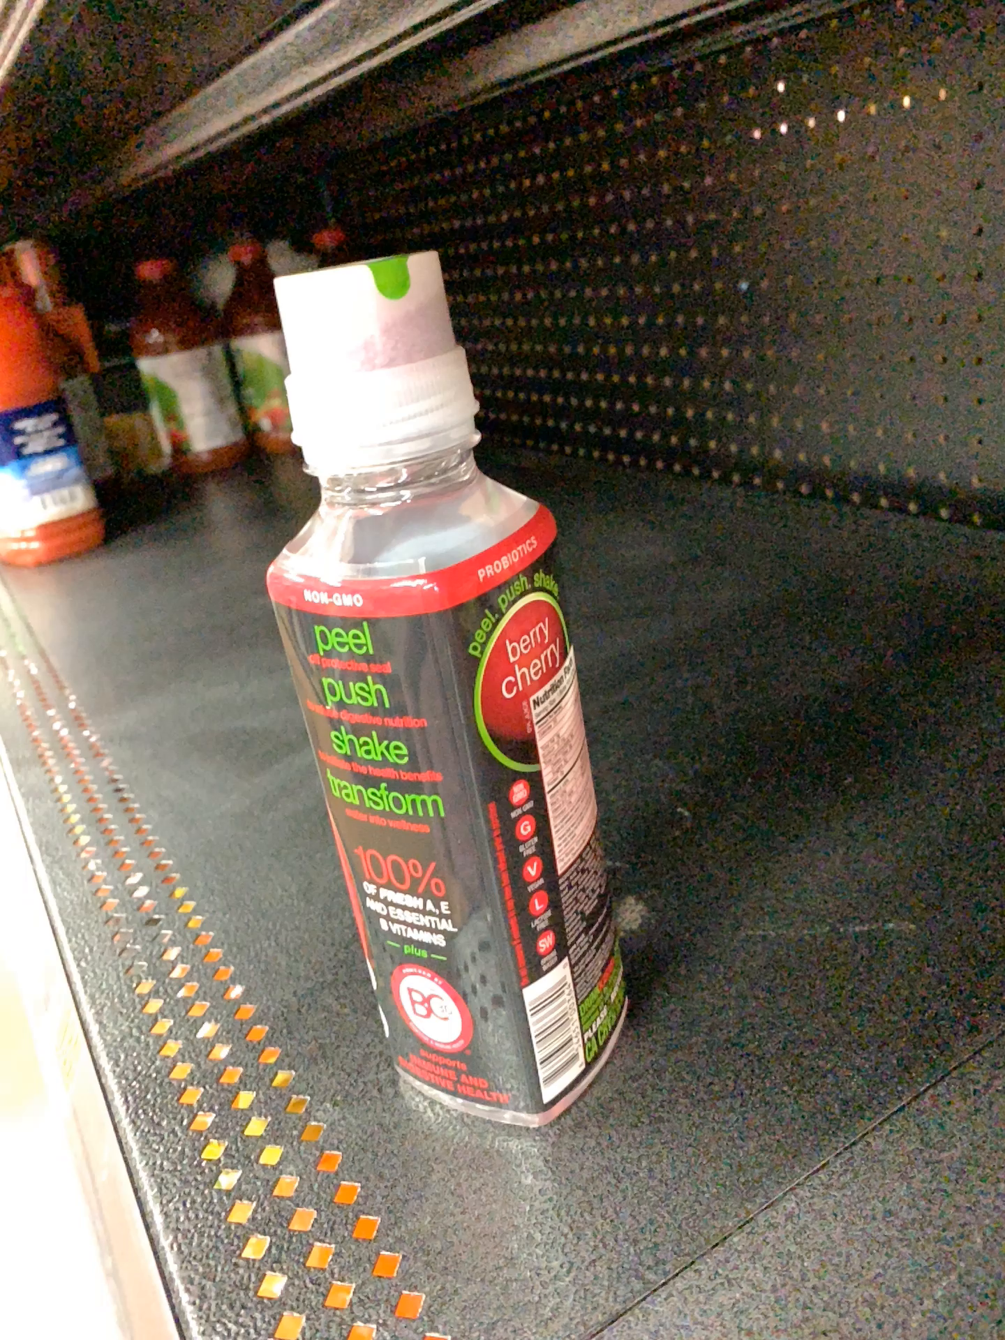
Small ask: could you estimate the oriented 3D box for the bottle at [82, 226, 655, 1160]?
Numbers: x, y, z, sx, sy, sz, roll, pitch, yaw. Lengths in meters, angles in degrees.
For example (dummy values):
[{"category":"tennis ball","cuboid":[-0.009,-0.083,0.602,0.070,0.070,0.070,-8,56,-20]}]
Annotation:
[{"category":"bottle","cuboid":[-0.021,0.010,0.262,0.070,0.209,0.069,-10,23,4]}]
